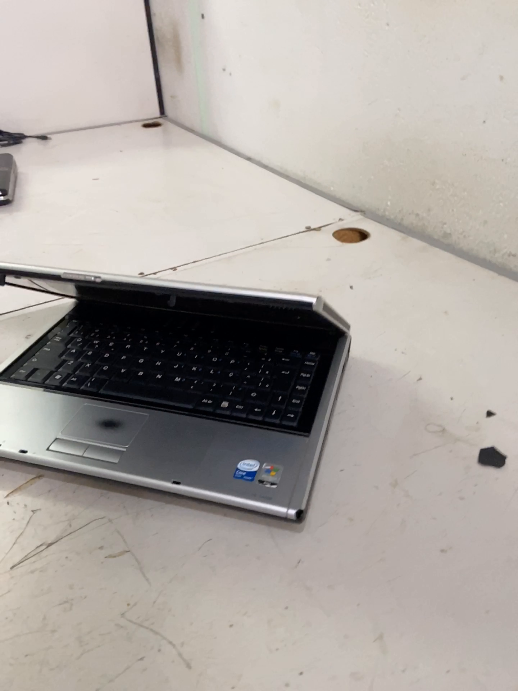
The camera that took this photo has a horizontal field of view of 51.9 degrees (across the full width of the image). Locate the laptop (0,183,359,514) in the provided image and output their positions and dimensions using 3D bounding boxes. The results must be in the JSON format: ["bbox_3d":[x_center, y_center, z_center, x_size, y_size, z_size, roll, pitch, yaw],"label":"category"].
[{"bbox_3d":[-0.095,-0.027,0.452,0.319,0.144,0.228,7,35,16],"label":"laptop"}]
